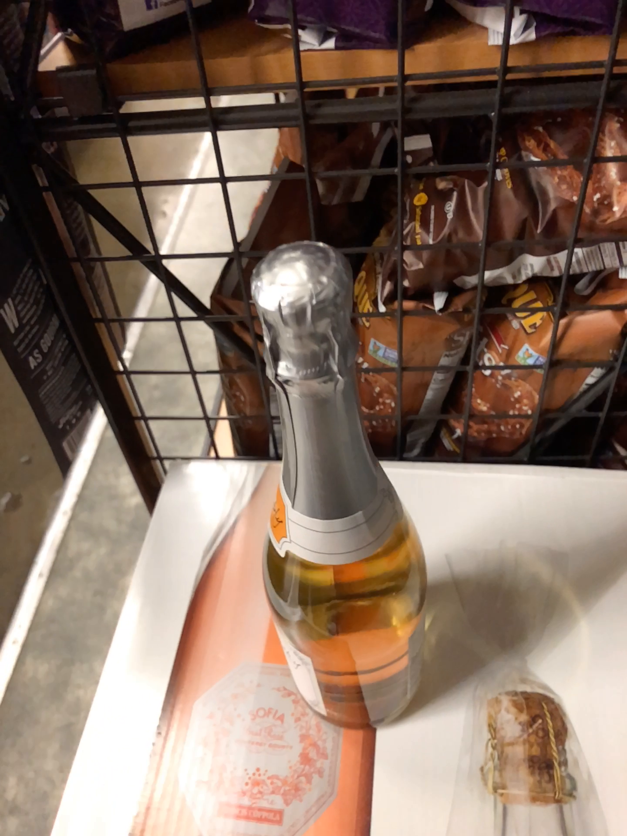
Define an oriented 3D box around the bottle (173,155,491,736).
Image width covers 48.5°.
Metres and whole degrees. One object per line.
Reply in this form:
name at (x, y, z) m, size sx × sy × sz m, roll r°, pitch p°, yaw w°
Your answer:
bottle at (0.017, 0.051, 0.331) m, size 0.086 × 0.319 × 0.078 m, roll -5°, pitch 46°, yaw 2°
